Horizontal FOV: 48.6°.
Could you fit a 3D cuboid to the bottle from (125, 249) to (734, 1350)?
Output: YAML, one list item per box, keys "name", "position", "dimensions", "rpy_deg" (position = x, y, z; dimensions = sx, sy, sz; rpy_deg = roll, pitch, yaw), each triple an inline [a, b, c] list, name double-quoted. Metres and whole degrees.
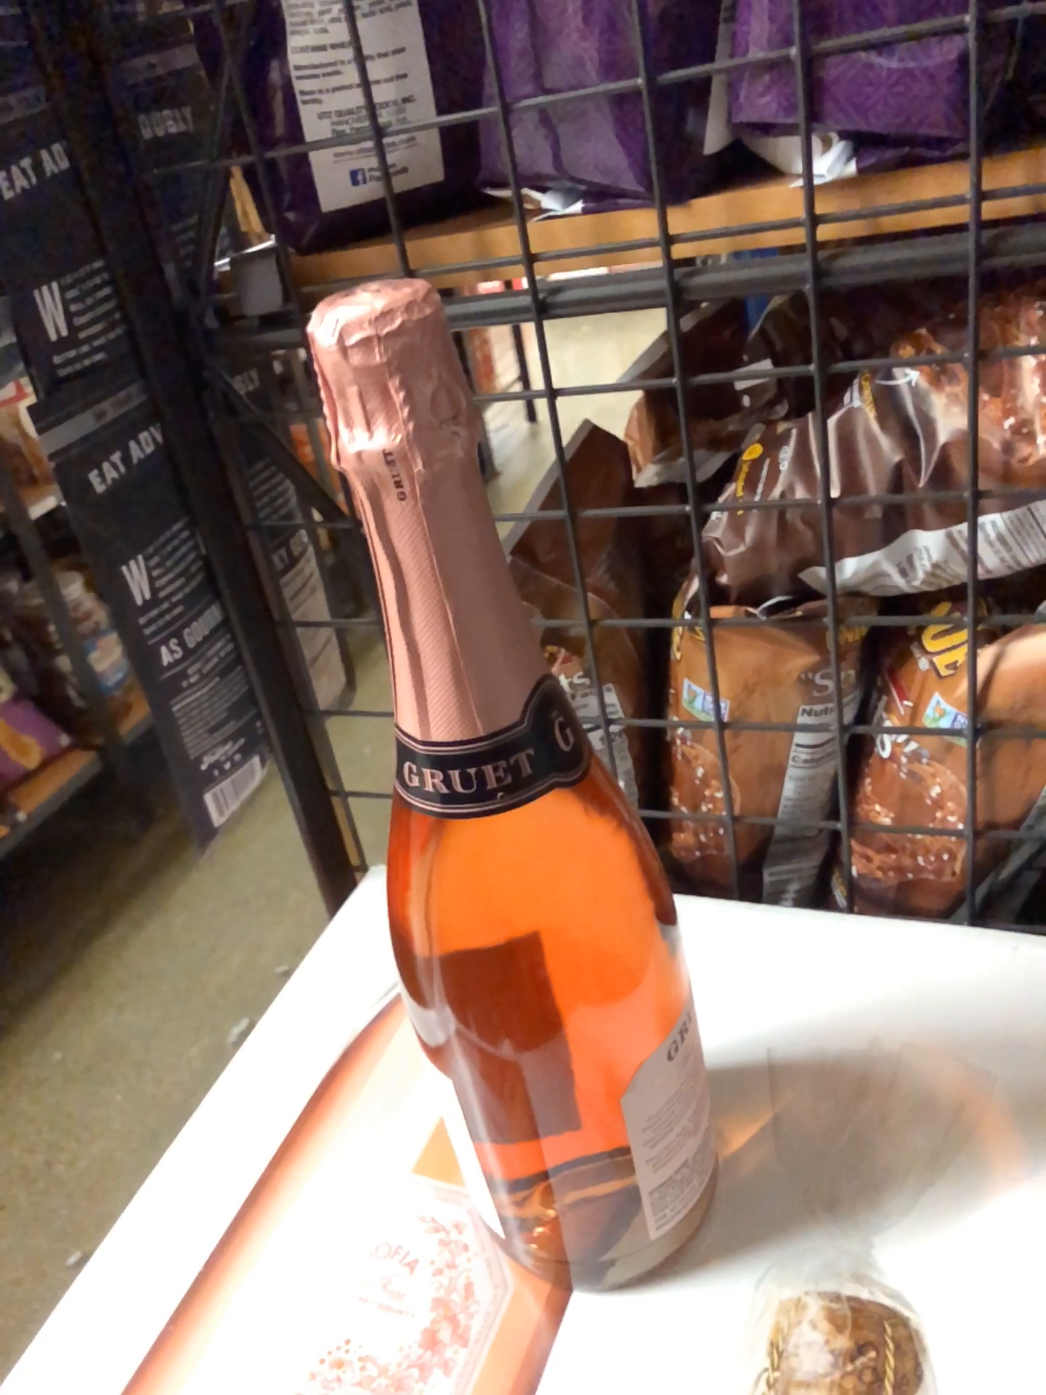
- name: "bottle"
  position: [-0.001, 0.047, 0.337]
  dimensions: [0.090, 0.311, 0.090]
  rpy_deg: [-9, 28, 5]
